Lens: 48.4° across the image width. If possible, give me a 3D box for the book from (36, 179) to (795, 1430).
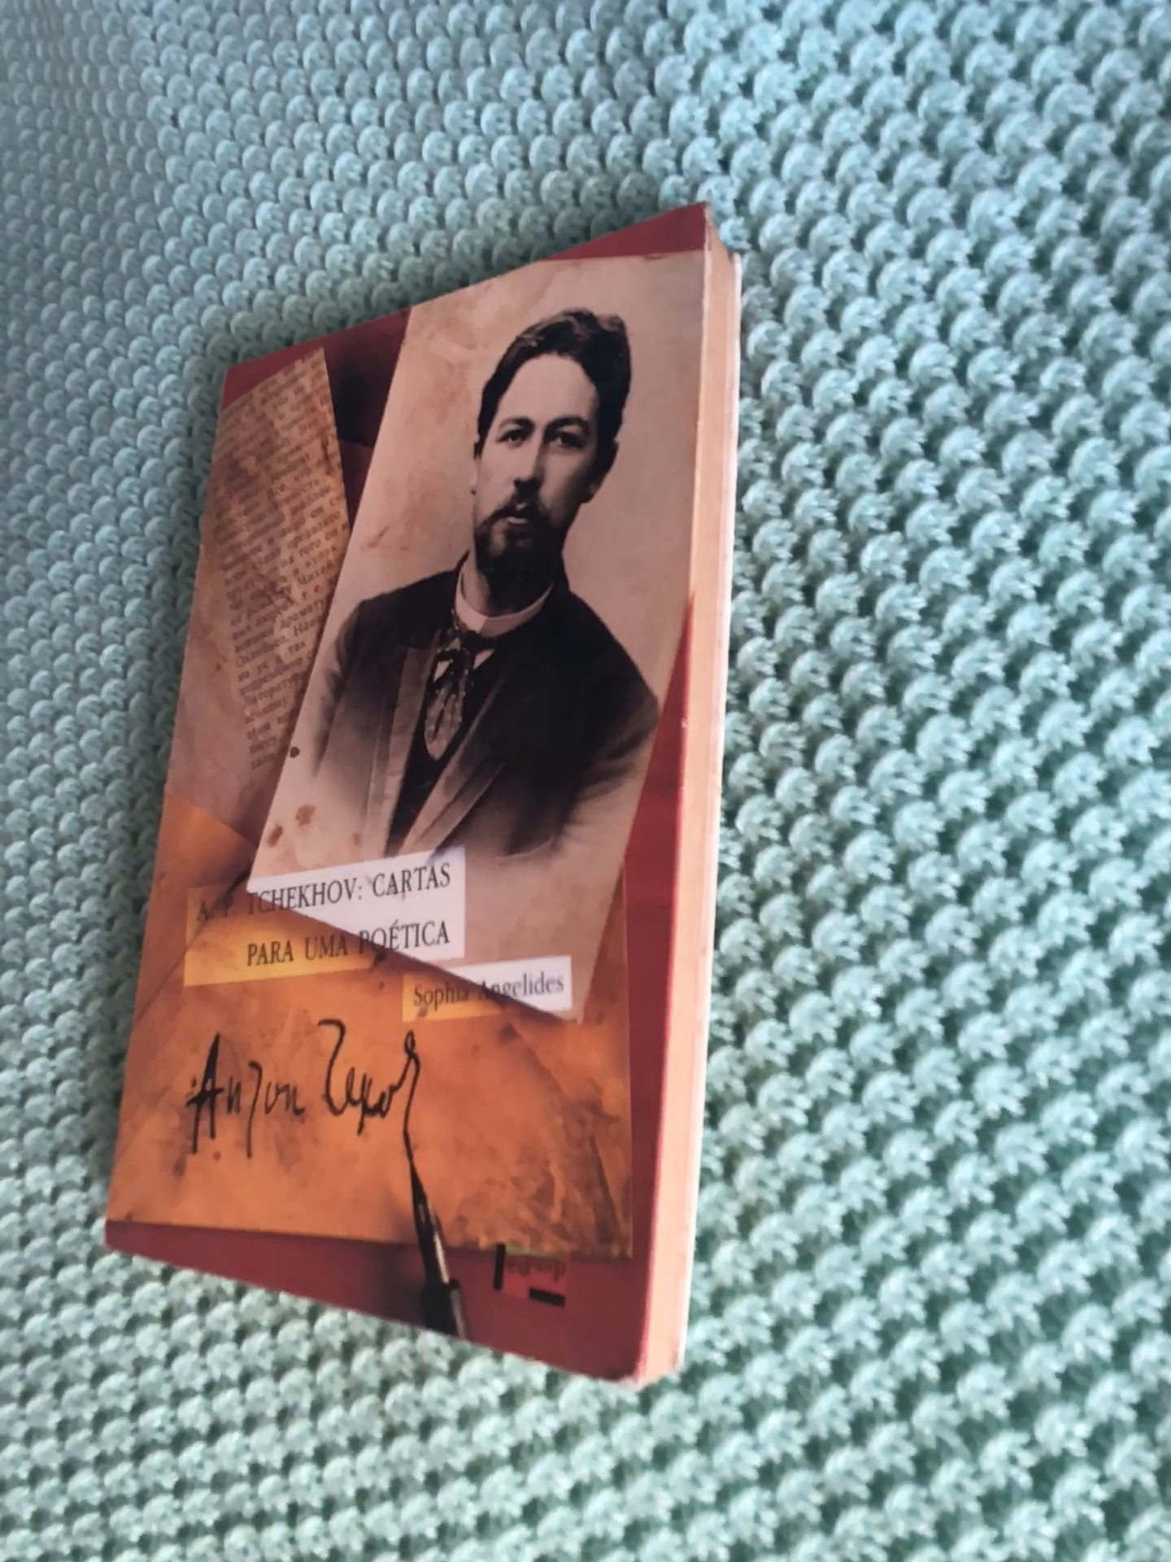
[{"bbox_3d":[-0.036,0.001,0.266,0.151,0.030,0.210,-3,78,30],"label":"book"}]
